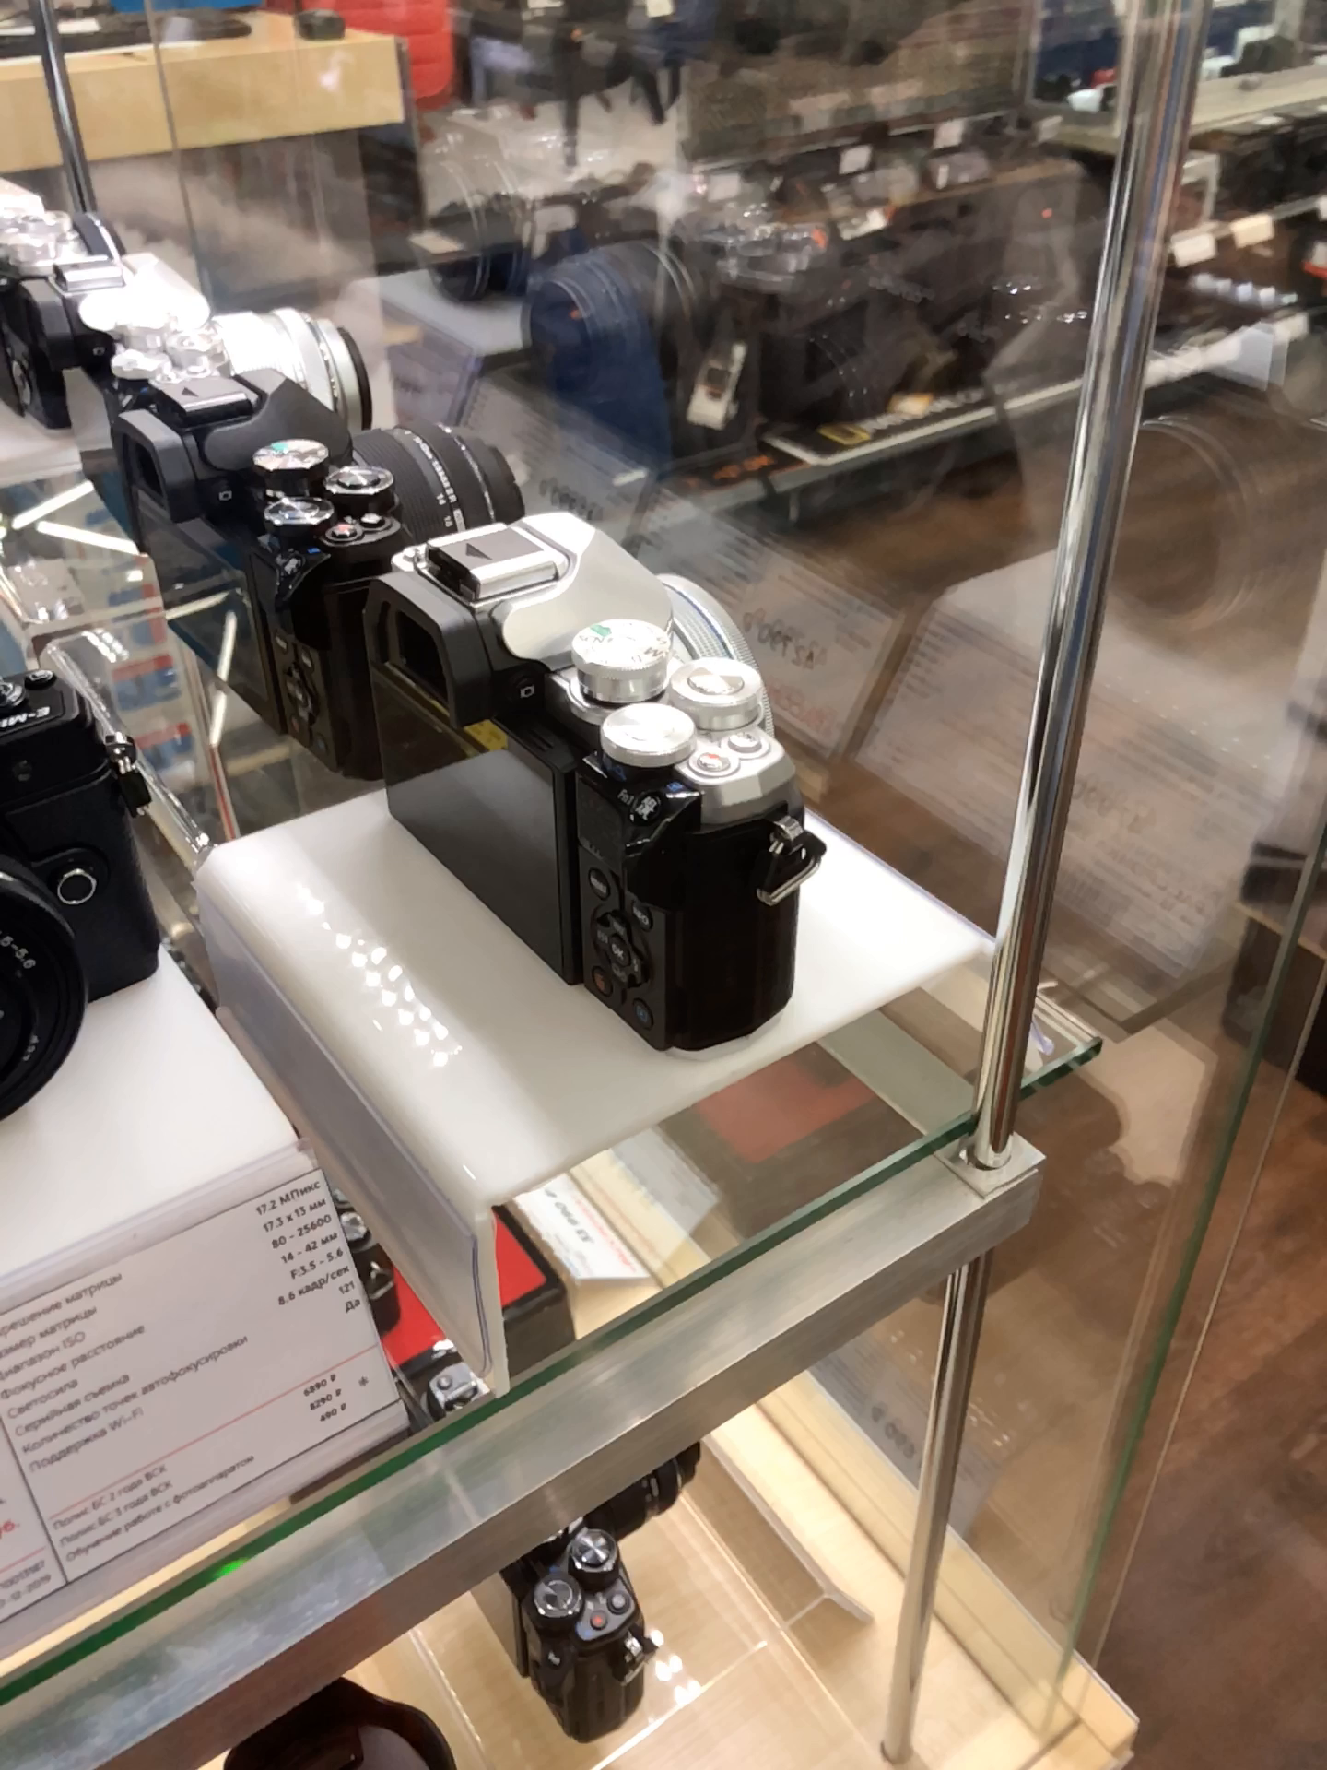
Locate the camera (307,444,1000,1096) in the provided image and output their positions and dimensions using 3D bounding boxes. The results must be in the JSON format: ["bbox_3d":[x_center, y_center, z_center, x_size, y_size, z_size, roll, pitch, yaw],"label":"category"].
[{"bbox_3d":[-0.007,-0.032,0.299,0.073,0.067,0.123,-25,43,-28],"label":"camera"}]

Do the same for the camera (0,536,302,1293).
[{"bbox_3d":[-0.135,-0.003,0.257,0.109,0.068,0.078,-24,42,-27],"label":"camera"}]
